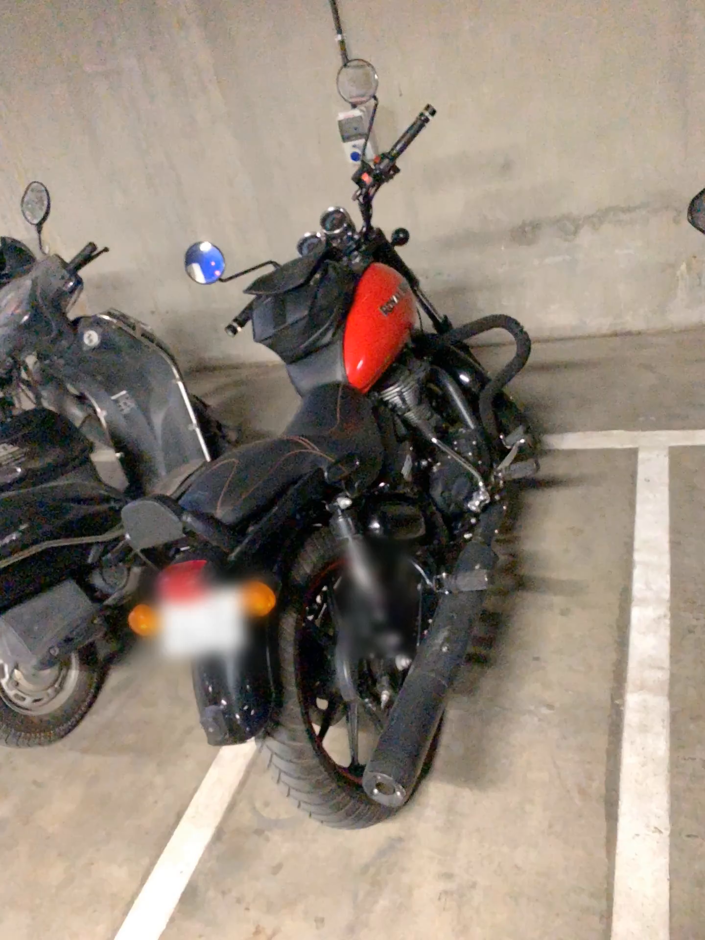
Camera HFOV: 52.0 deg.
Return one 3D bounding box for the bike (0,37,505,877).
[{"bbox_3d":[-0.104,-0.241,2.011,0.829,1.301,1.843,-6,34,16],"label":"bike"}]
